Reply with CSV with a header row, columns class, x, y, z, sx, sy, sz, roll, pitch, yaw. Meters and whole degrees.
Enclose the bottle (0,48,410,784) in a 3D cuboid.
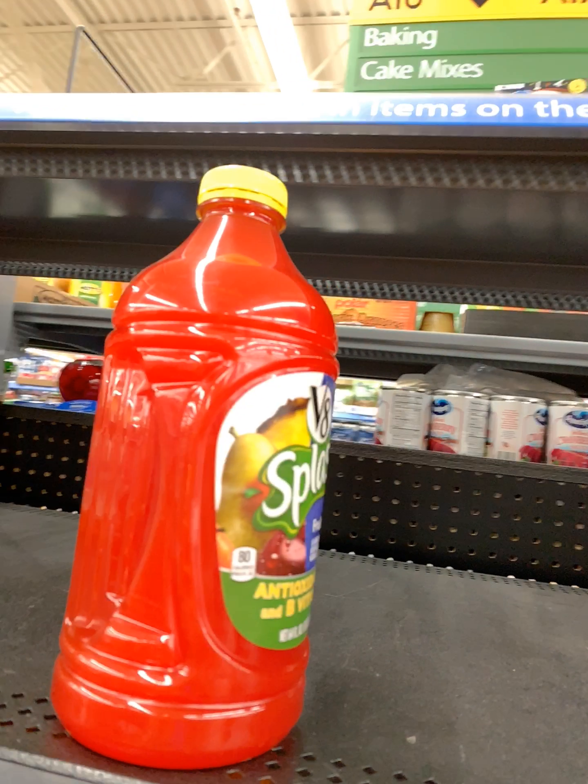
class,x,y,z,sx,sy,sz,roll,pitch,yaw
bottle,-0.033,0.011,0.295,0.122,0.265,0.140,4,-4,26
